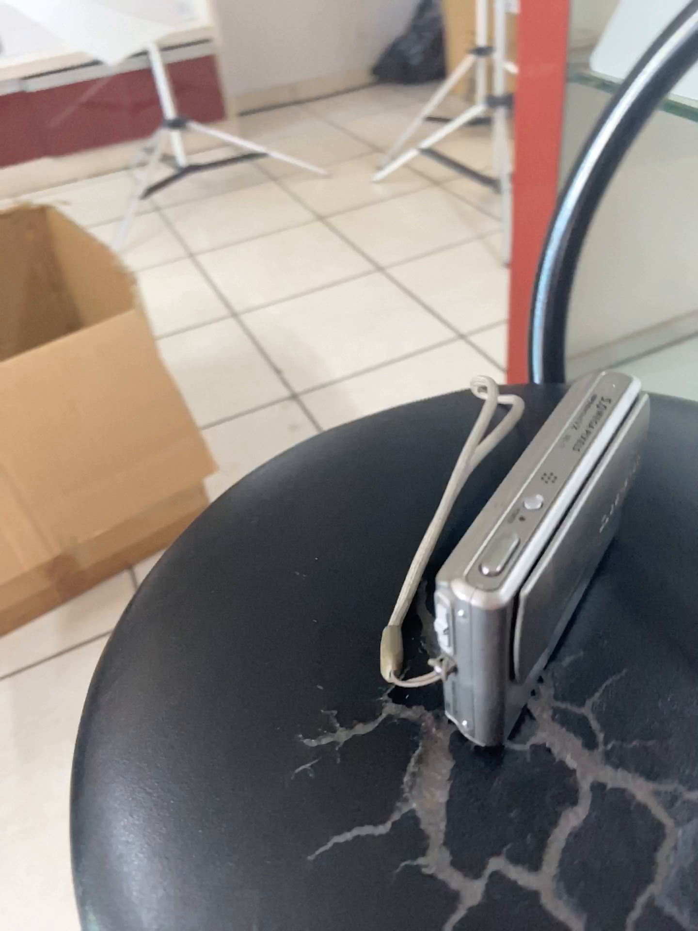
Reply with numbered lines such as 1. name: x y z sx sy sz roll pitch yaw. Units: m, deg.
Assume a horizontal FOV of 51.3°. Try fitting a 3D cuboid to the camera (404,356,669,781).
1. camera: 0.055 0.023 0.202 0.030 0.060 0.100 19 47 28
